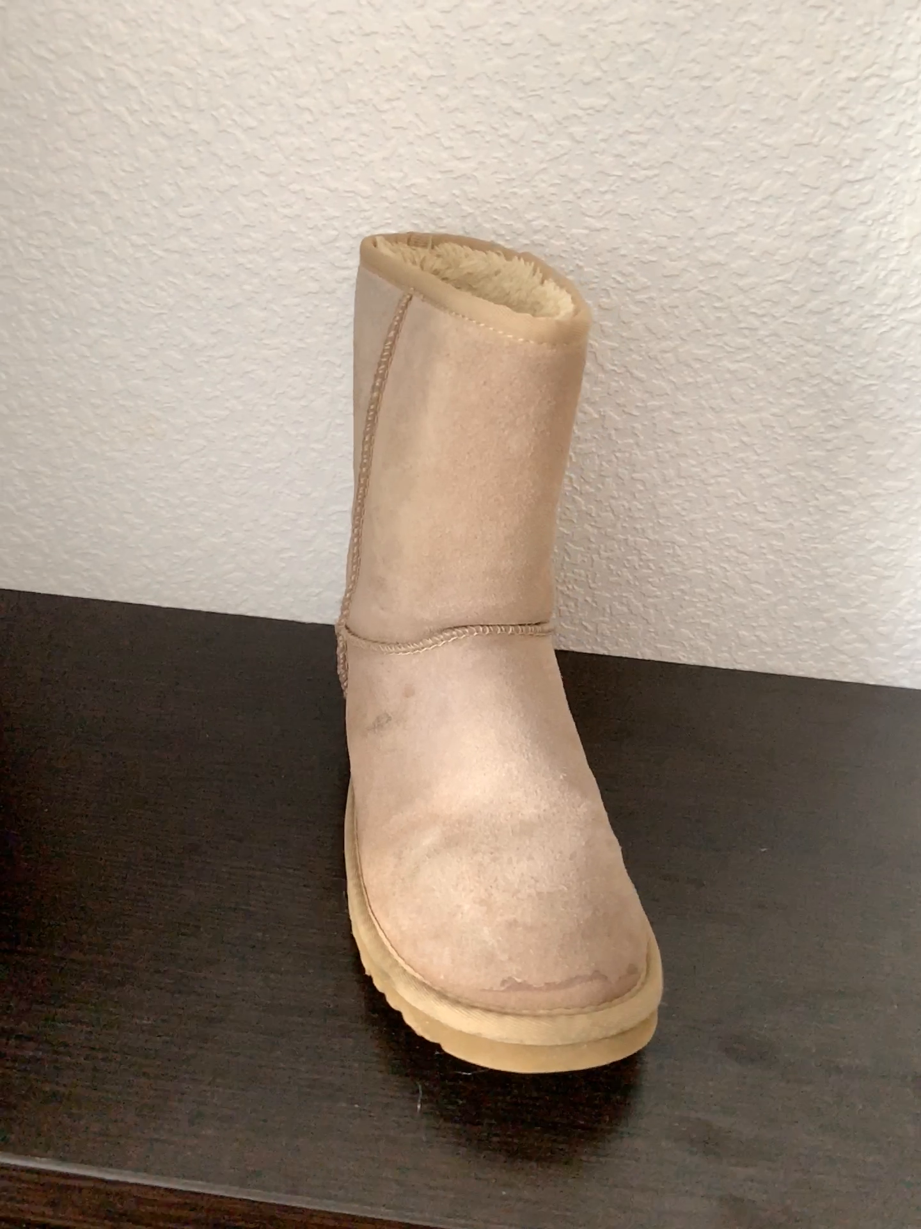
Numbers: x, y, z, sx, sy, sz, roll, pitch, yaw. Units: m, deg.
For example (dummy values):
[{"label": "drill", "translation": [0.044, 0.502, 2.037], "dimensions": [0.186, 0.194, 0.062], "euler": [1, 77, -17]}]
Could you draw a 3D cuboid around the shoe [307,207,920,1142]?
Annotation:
[{"label": "shoe", "translation": [0.011, -0.008, 0.353], "dimensions": [0.116, 0.229, 0.261], "euler": [-3, 30, -12]}]
